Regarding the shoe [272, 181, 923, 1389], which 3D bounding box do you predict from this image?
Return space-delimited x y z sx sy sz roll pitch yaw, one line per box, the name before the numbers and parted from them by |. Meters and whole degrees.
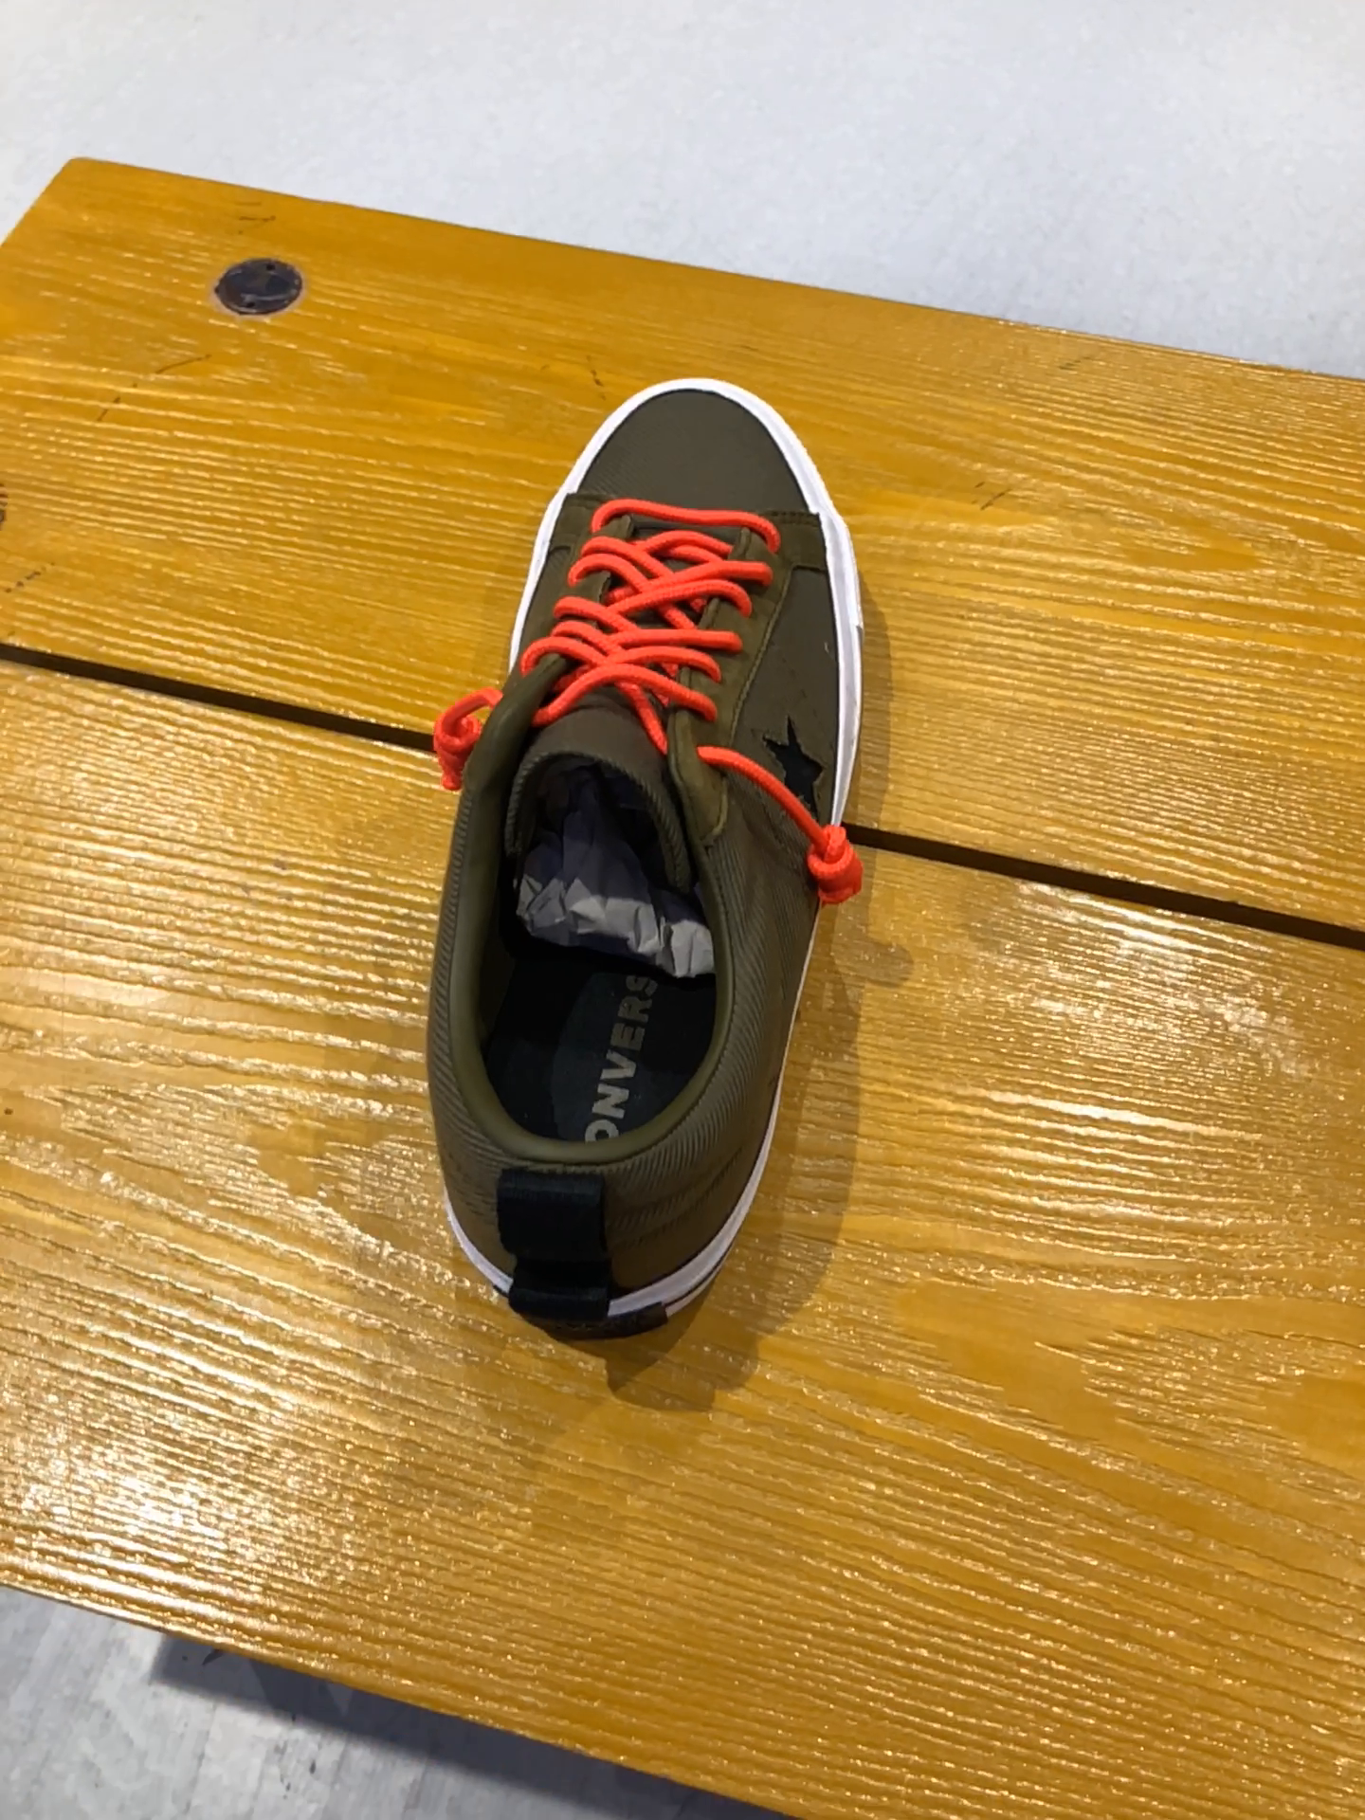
shoe | -0.004 -0.045 0.382 0.105 0.097 0.294 6 60 3
